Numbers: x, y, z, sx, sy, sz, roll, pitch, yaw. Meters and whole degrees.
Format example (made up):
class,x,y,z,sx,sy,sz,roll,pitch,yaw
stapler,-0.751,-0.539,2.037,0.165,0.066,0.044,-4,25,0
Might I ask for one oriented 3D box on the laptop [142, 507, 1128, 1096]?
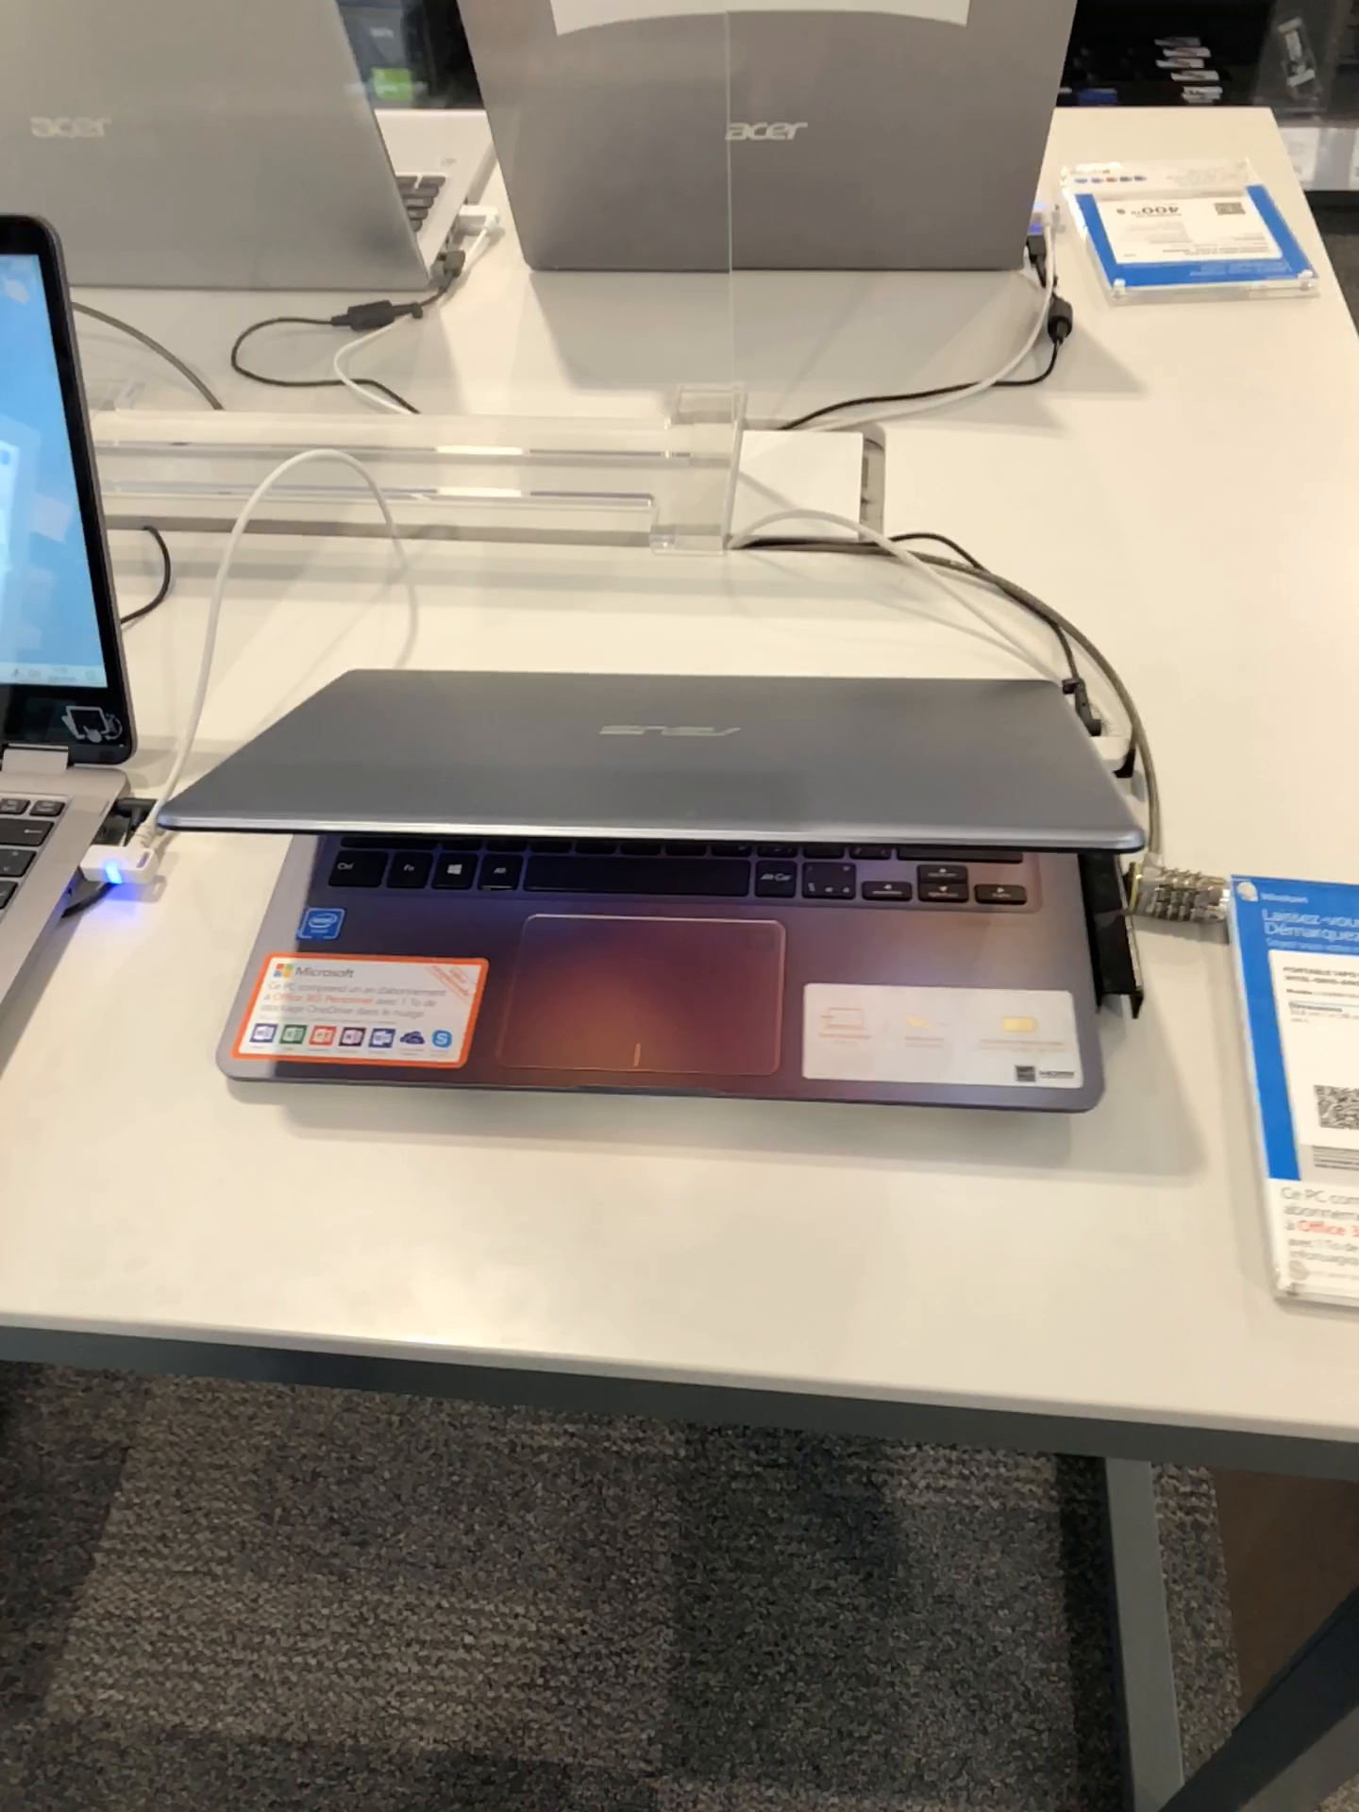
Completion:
class,x,y,z,sx,sy,sz,roll,pitch,yaw
laptop,-0.009,-0.047,0.555,0.300,0.099,0.201,2,49,4
